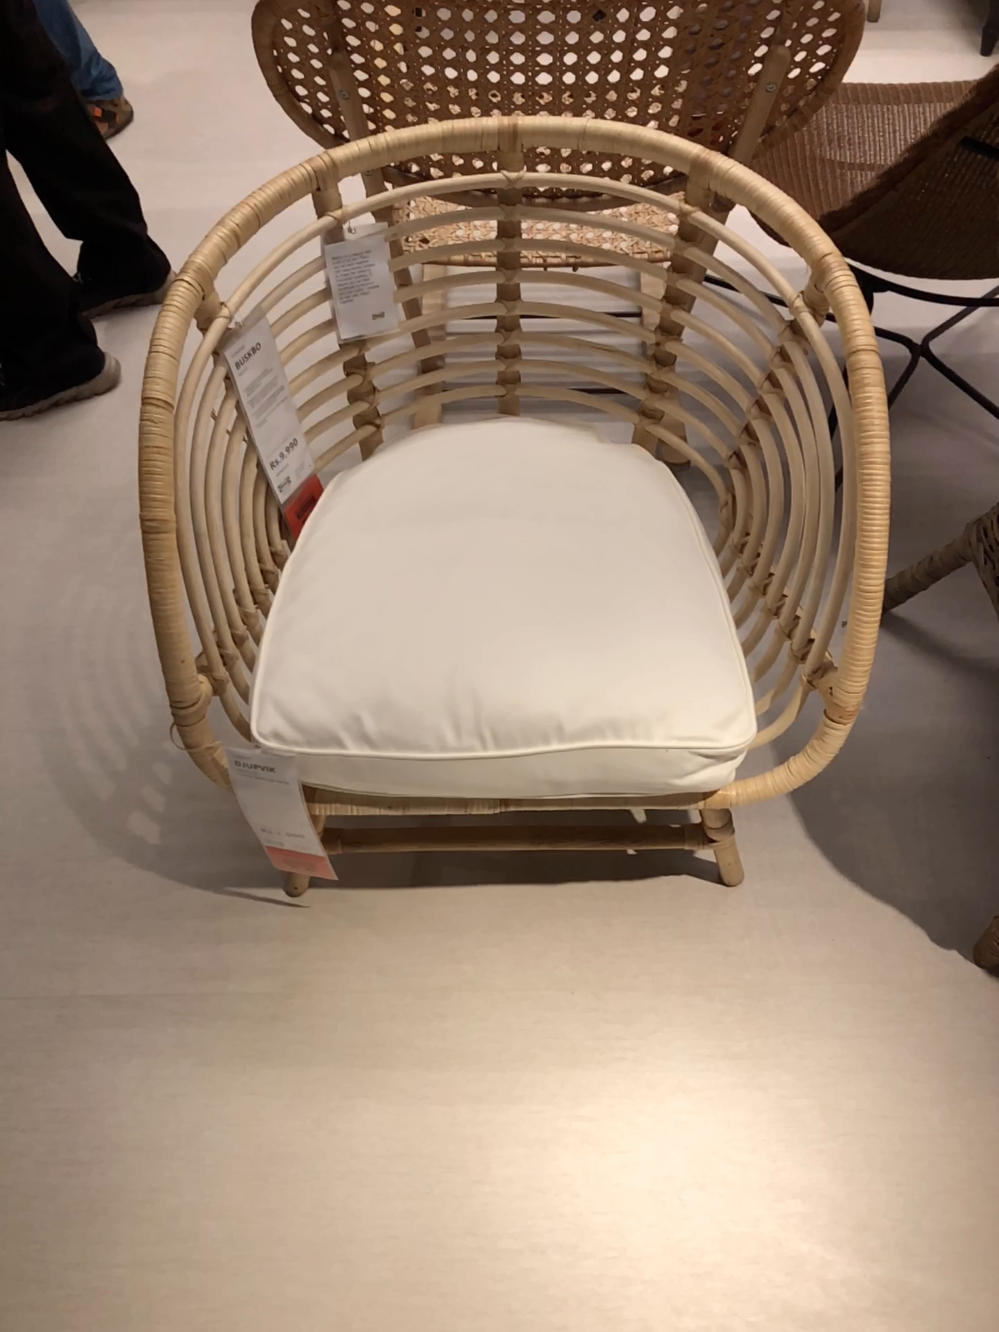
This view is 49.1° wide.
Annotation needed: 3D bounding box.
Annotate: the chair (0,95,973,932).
[{"bbox_3d":[-0.001,-0.156,1.392,0.780,0.776,0.704,0,53,2],"label":"chair"}]
